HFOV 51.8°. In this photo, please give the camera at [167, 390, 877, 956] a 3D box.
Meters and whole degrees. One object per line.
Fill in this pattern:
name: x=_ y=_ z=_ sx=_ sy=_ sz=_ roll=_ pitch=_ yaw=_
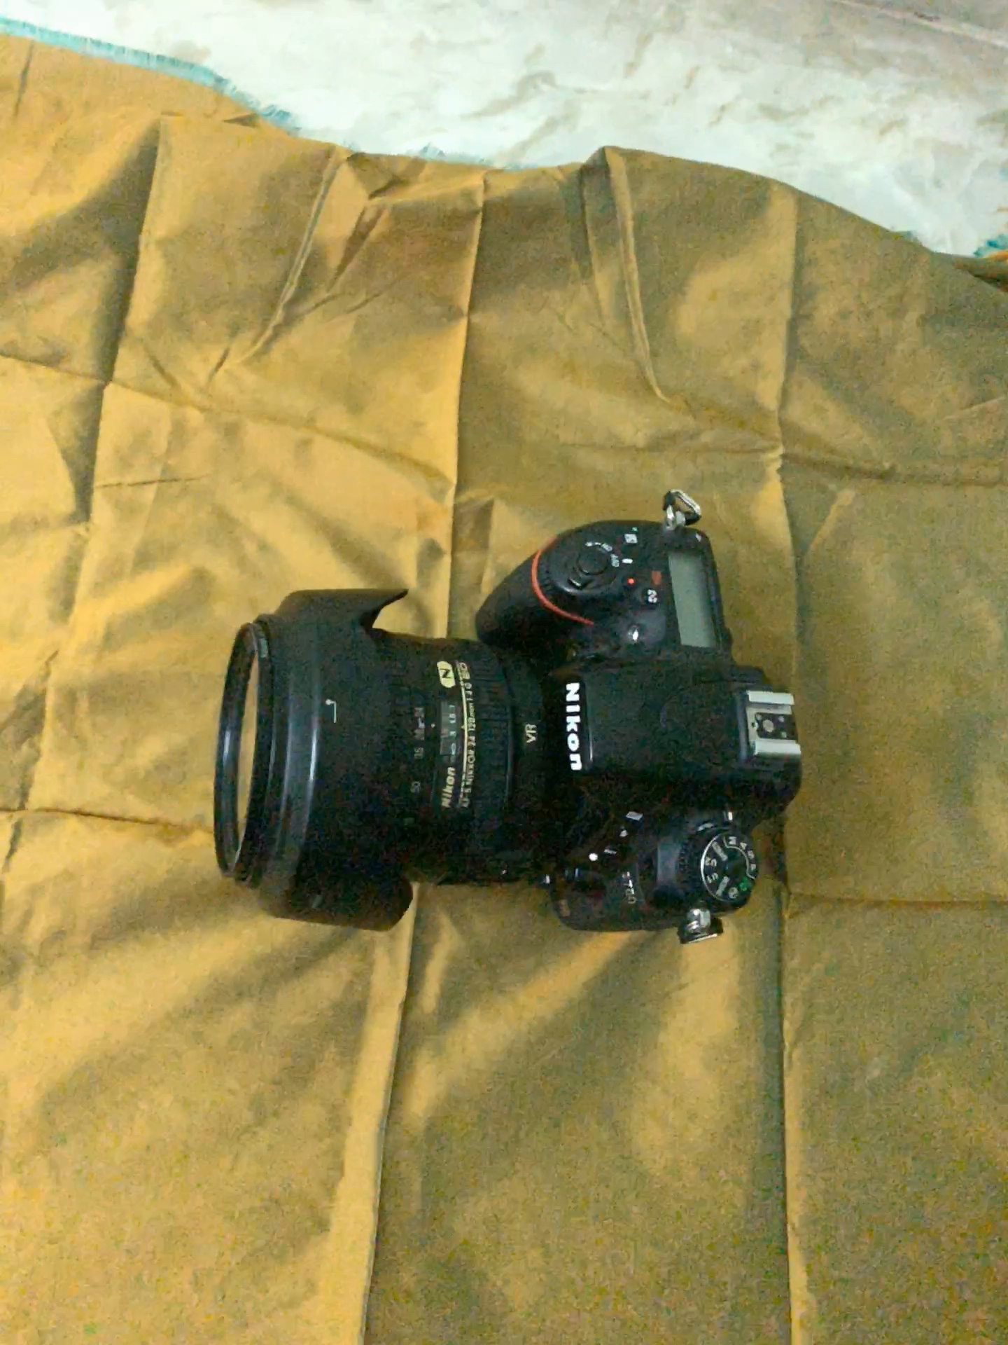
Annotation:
camera: x=0.001 y=0.015 z=0.338 sx=0.193 sy=0.100 sz=0.140 roll=7 pitch=70 yaw=-20
